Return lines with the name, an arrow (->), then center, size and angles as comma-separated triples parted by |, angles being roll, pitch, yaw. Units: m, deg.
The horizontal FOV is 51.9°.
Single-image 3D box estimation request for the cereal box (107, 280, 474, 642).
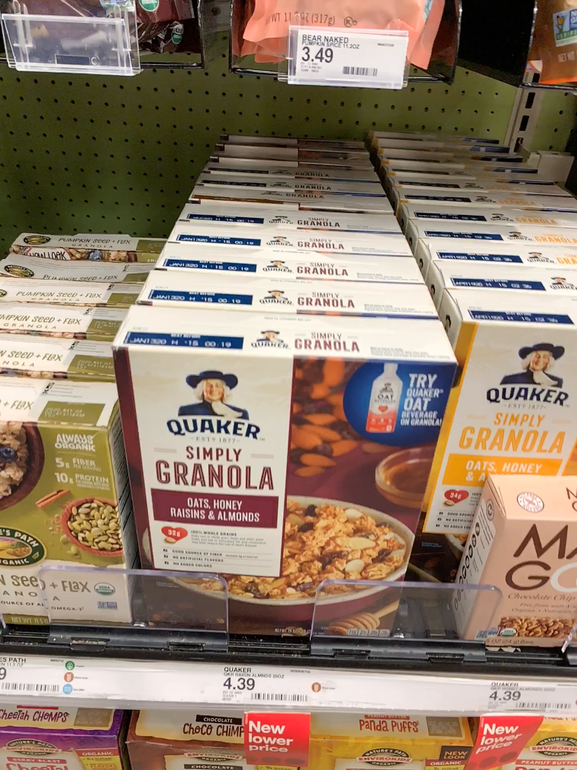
cereal box -> -0.006, 0.064, 0.386 | 0.180, 0.249, 0.060 | 3, 35, -2
